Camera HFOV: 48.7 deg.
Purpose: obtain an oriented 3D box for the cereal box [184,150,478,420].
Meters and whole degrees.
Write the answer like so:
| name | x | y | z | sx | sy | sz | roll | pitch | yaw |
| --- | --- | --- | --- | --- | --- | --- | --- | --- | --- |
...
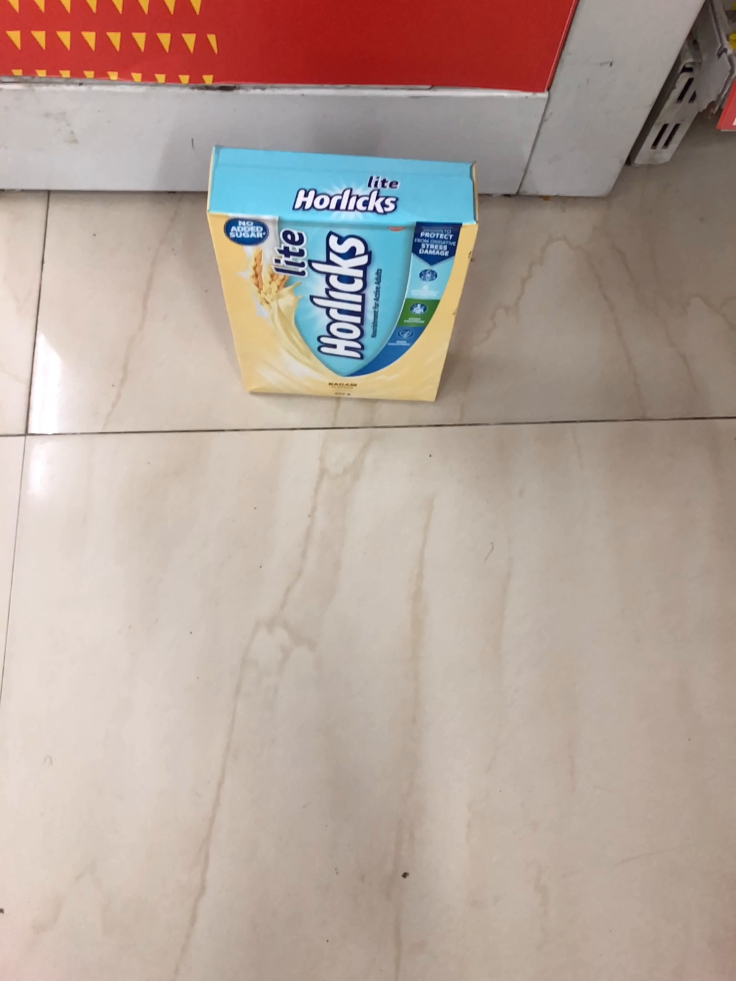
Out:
| name | x | y | z | sx | sy | sz | roll | pitch | yaw |
| --- | --- | --- | --- | --- | --- | --- | --- | --- | --- |
| cereal box | -0.024 | -0.116 | 0.512 | 0.150 | 0.189 | 0.050 | 2 | 66 | -3 |
